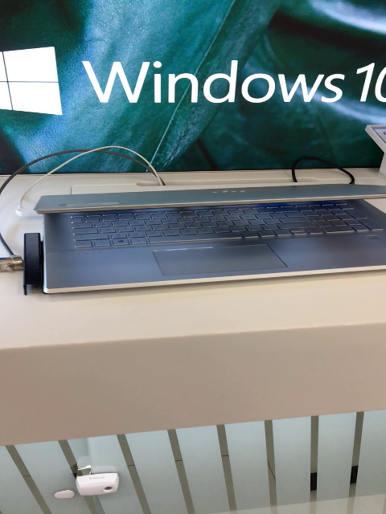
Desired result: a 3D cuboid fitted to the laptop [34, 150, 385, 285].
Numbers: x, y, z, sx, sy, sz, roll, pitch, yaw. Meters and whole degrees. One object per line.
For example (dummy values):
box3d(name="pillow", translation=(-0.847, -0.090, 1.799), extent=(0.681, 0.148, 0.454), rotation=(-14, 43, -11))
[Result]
box3d(name="laptop", translation=(0.036, -0.064, 0.629), extent=(0.440, 0.069, 0.217), rotation=(-4, 31, -10))
